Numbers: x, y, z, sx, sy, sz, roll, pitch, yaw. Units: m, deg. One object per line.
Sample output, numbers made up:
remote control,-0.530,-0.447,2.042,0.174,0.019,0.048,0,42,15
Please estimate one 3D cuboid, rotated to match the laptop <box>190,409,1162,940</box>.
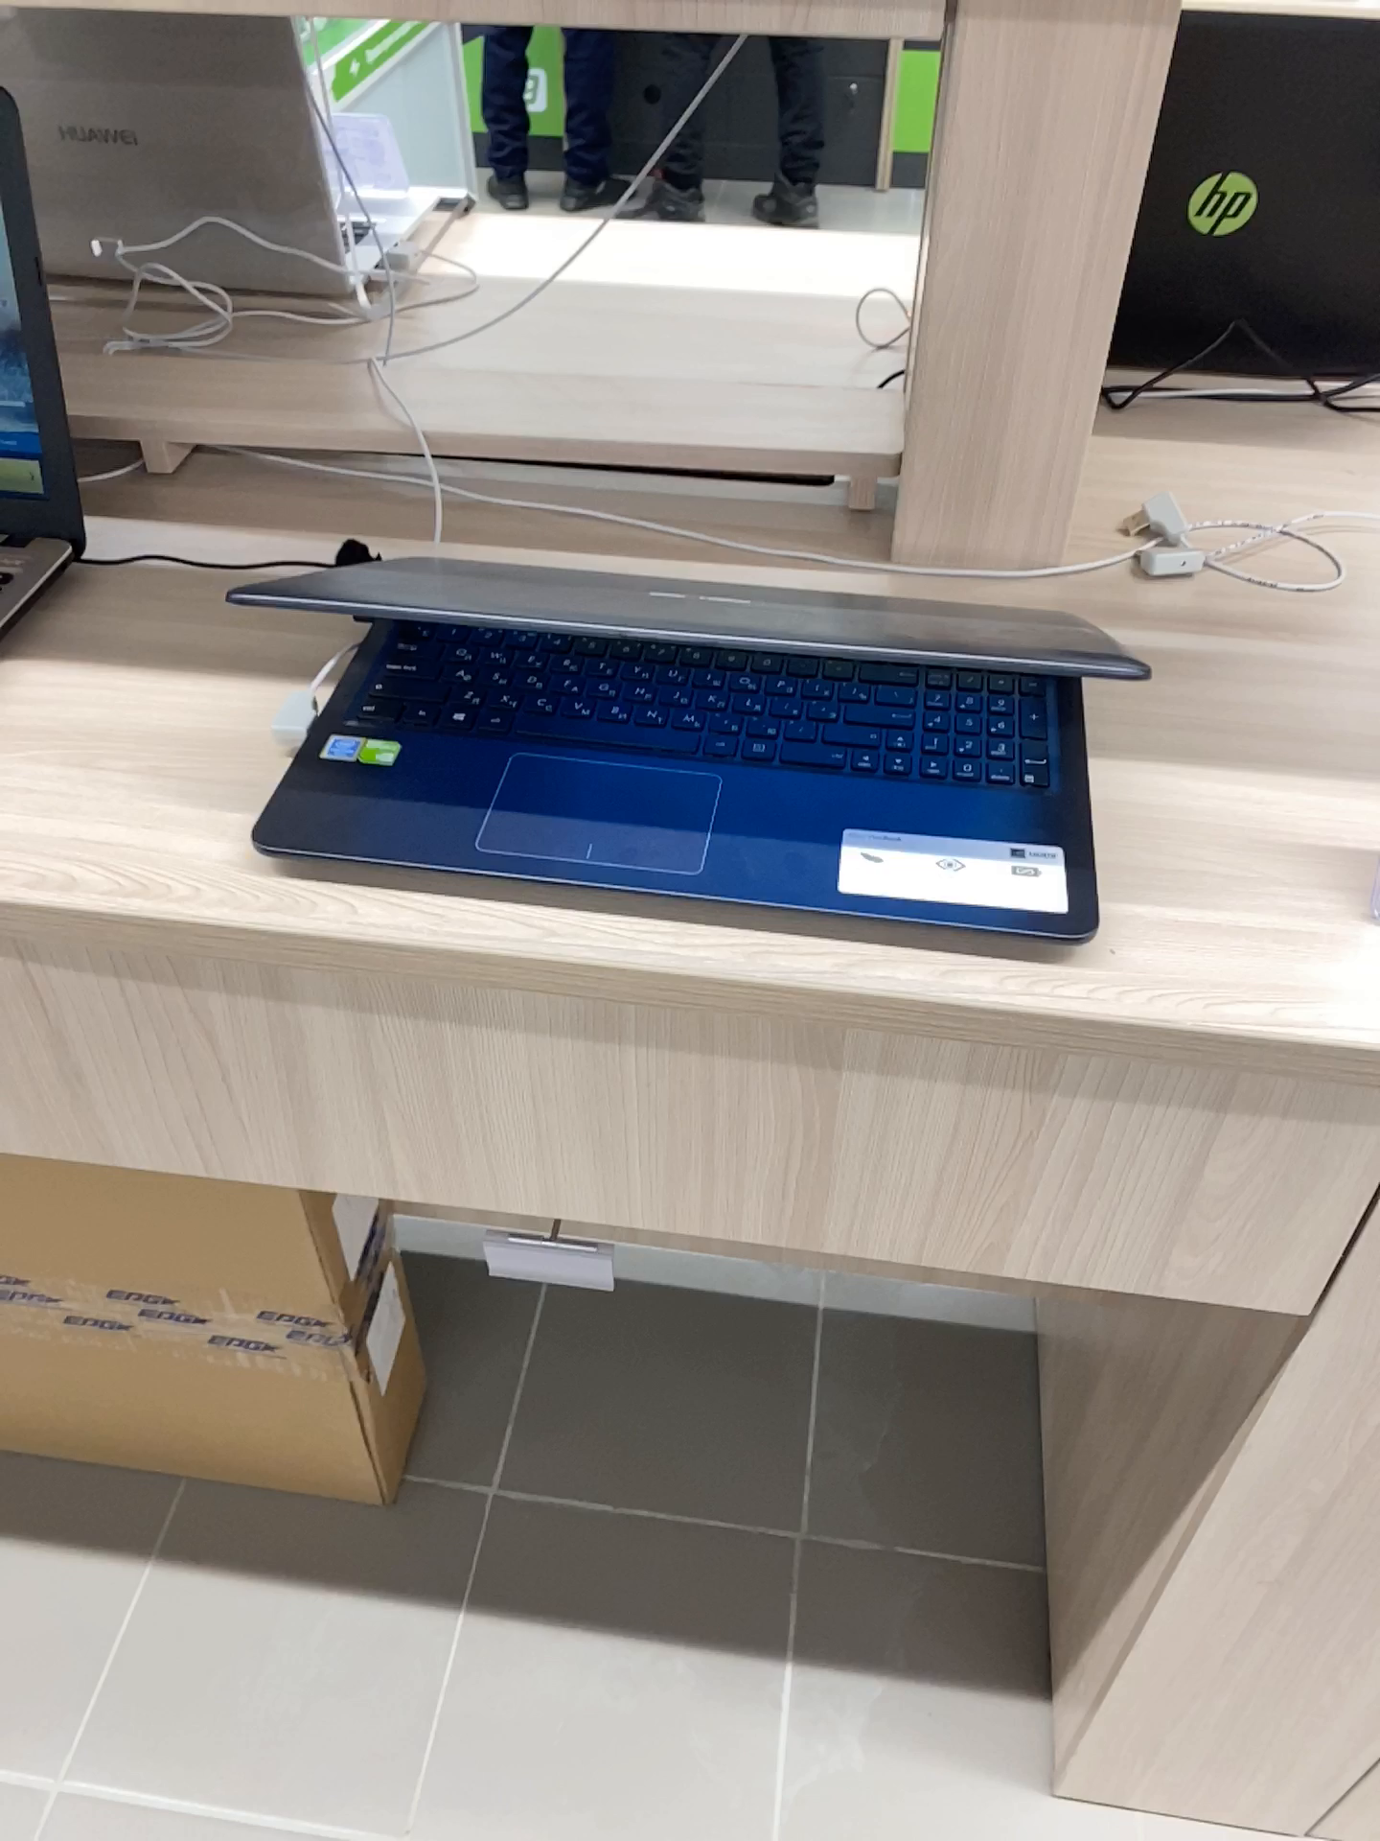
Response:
laptop,0.005,-0.130,0.669,0.386,0.098,0.236,7,44,6
